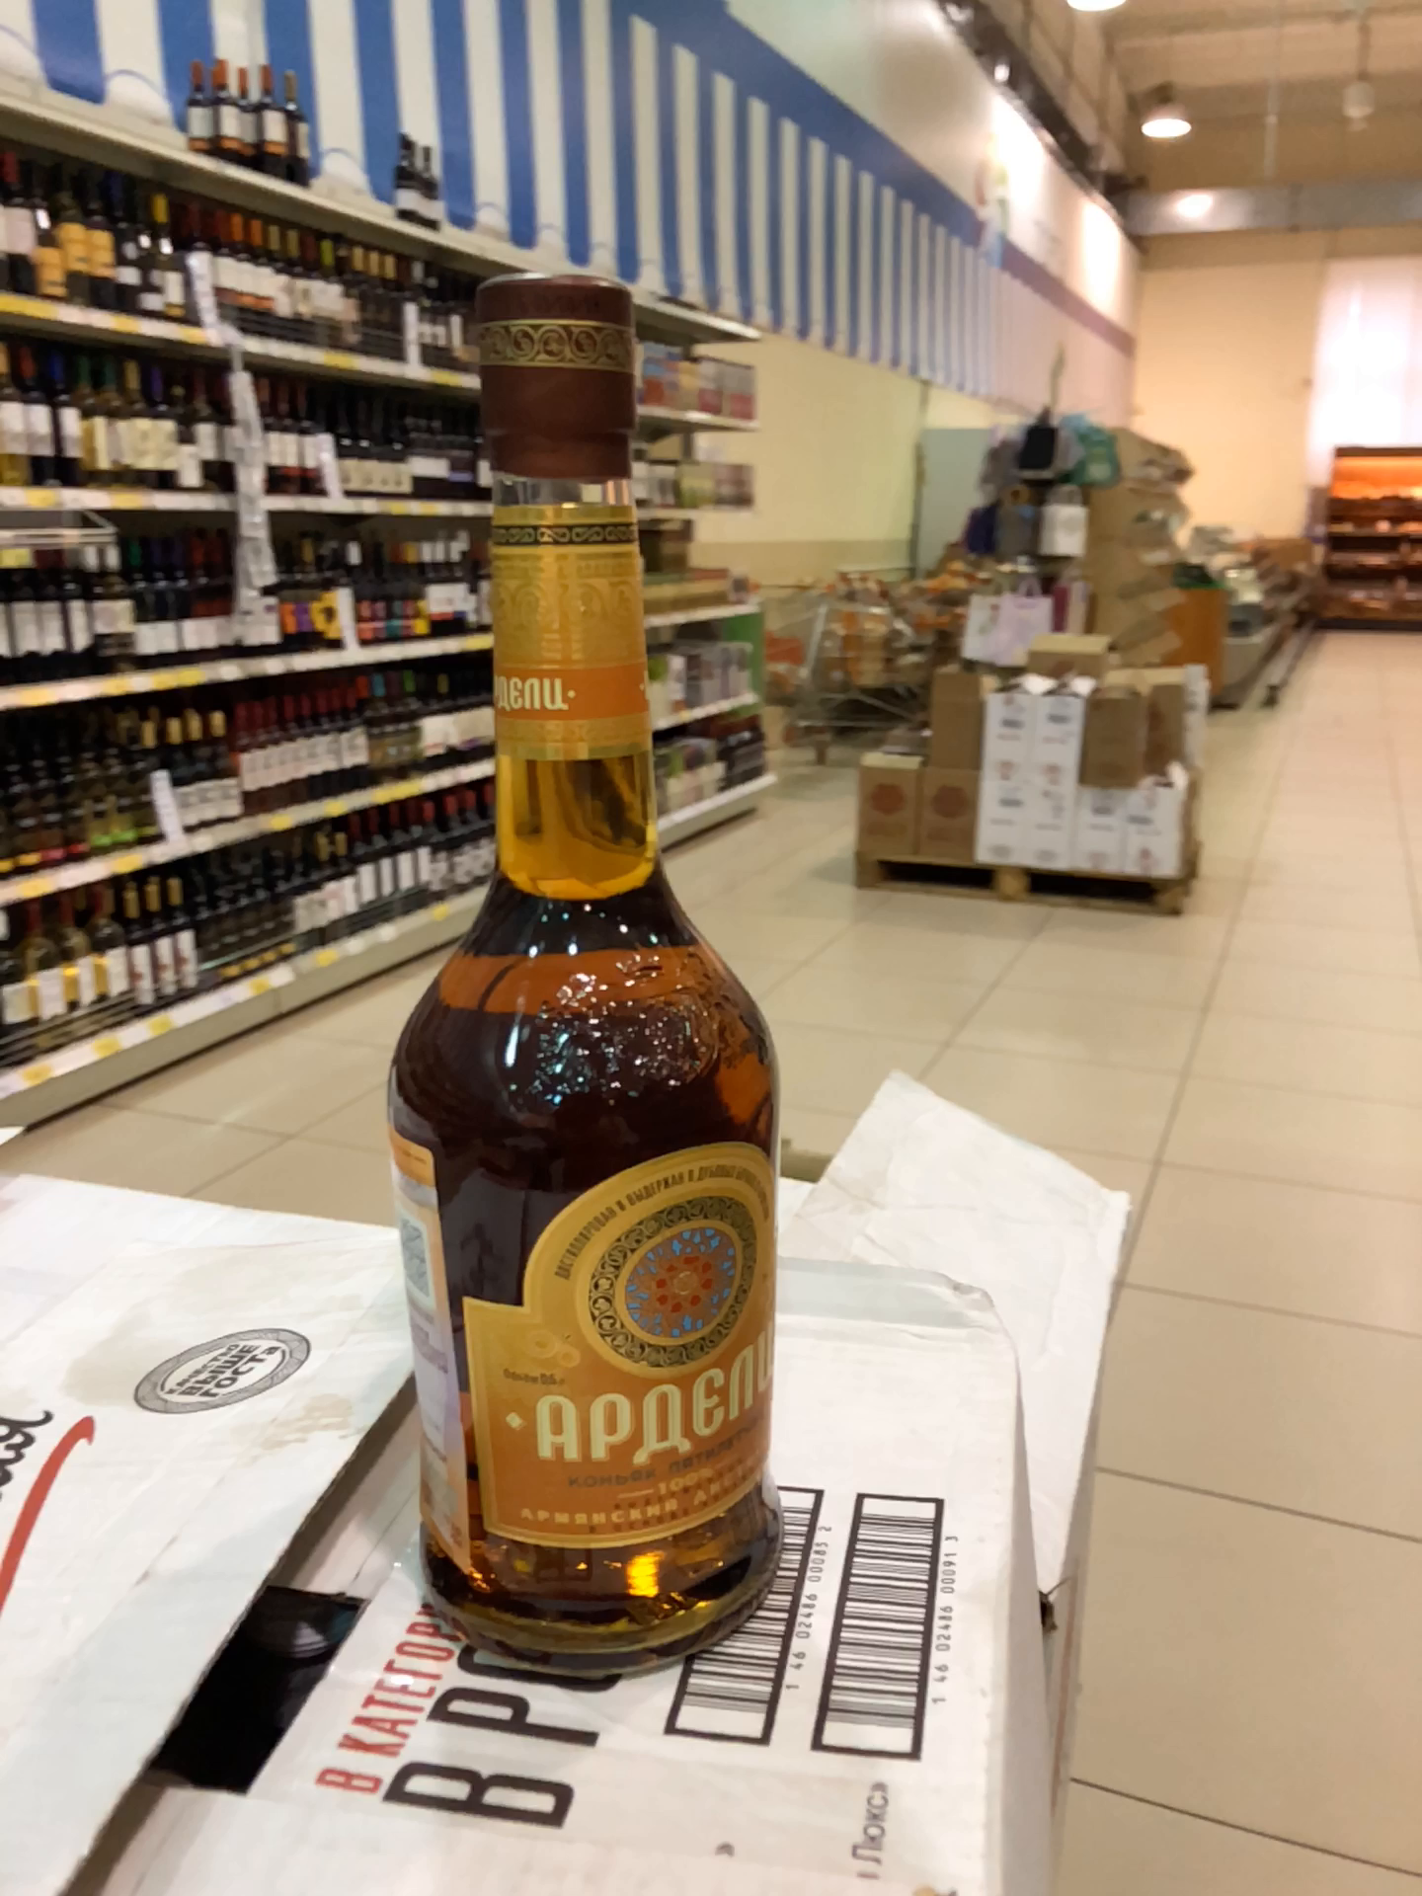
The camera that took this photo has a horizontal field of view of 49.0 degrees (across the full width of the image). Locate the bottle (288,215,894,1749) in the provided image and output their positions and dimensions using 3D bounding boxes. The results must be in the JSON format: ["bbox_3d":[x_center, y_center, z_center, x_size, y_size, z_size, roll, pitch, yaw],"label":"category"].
[{"bbox_3d":[-0.025,0.007,0.307,0.080,0.259,0.080,0,14,0],"label":"bottle"}]
